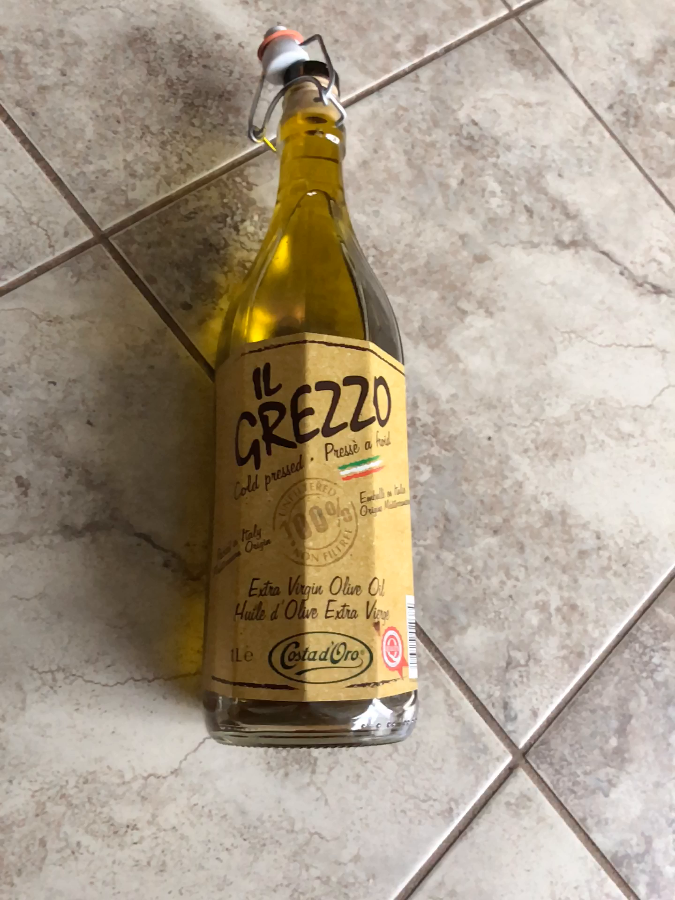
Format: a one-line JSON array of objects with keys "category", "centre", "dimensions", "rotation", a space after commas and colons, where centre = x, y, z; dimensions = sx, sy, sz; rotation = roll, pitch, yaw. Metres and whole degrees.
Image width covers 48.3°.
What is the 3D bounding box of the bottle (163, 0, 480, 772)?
[{"category": "bottle", "centre": [-0.012, -0.056, 0.326], "dimensions": [0.090, 0.100, 0.350], "rotation": [6, 72, -17]}]
